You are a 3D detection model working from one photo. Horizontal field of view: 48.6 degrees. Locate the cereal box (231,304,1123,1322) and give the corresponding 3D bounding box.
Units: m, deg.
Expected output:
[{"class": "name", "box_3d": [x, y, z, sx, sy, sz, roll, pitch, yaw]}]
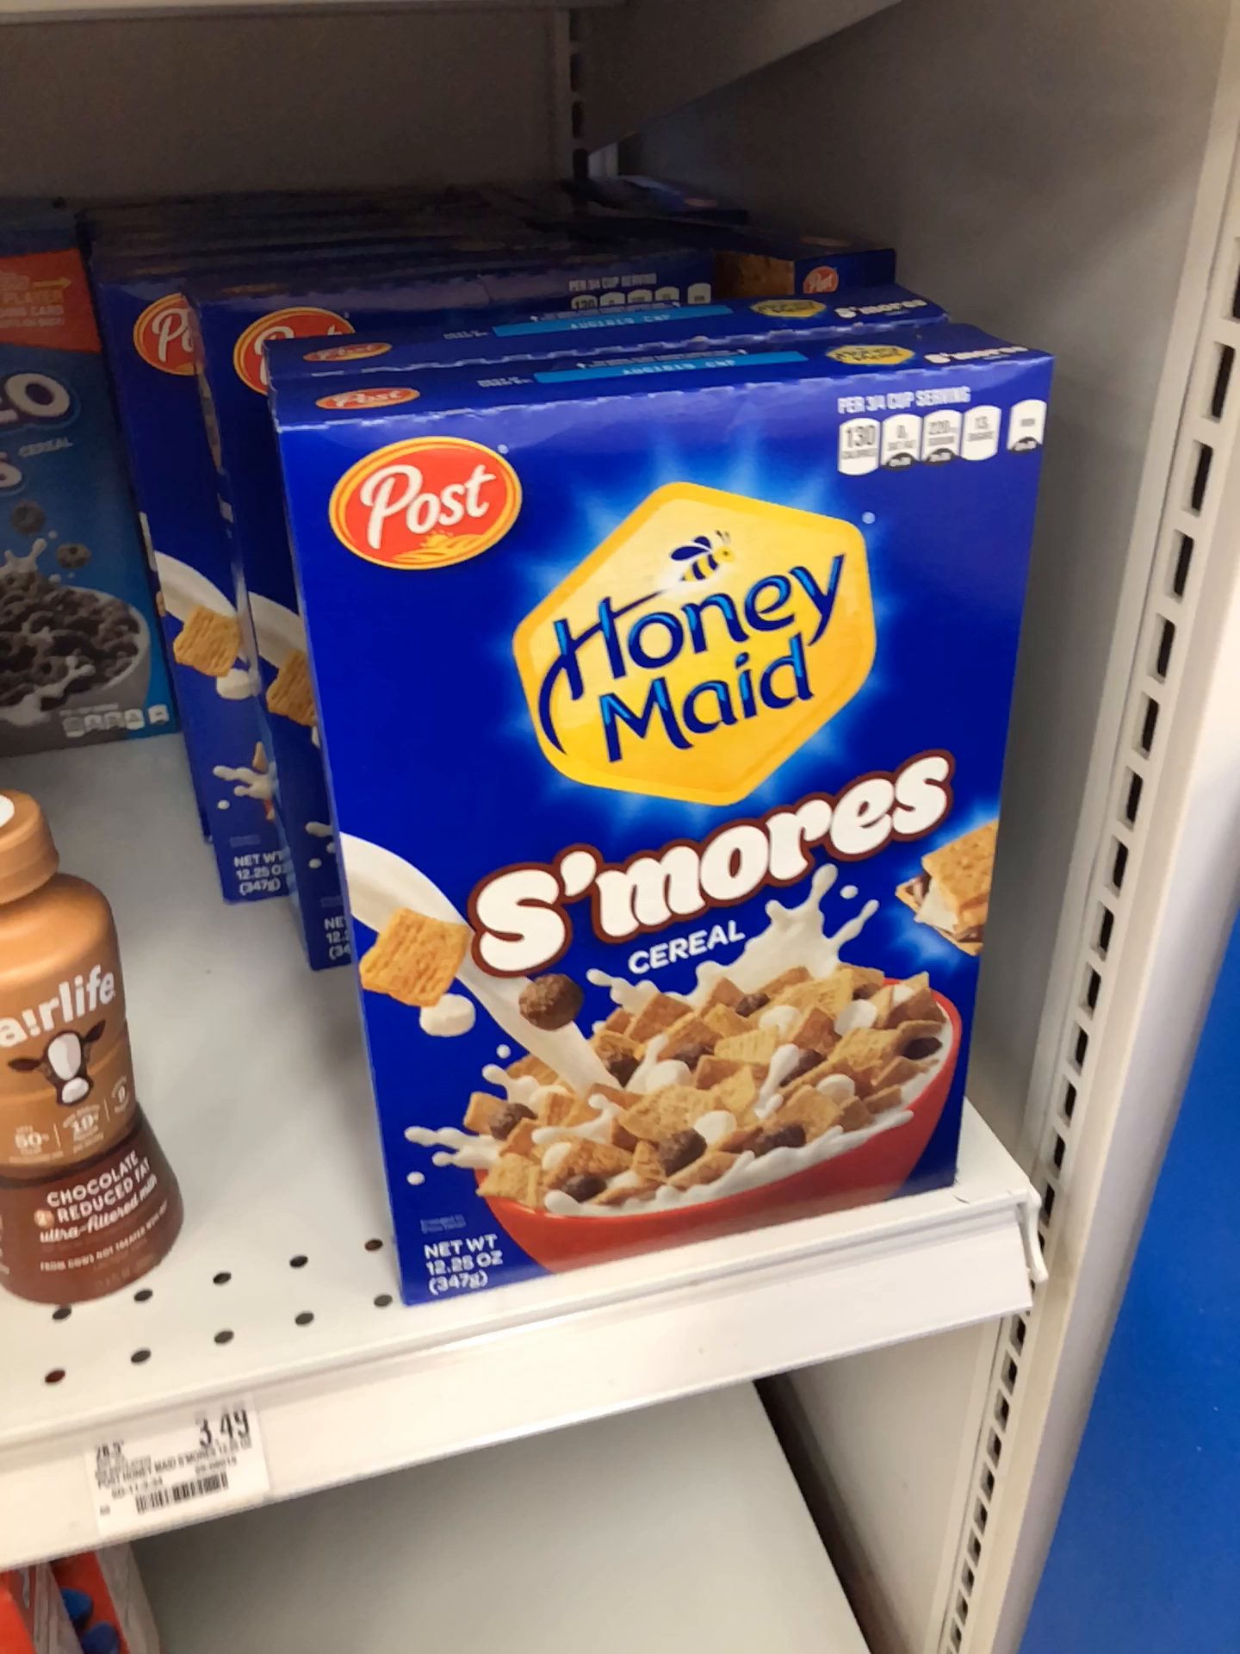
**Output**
[{"class": "cereal box", "box_3d": [0.013, 0.004, 0.397, 0.200, 0.269, 0.070, -8, 33, -12]}]
